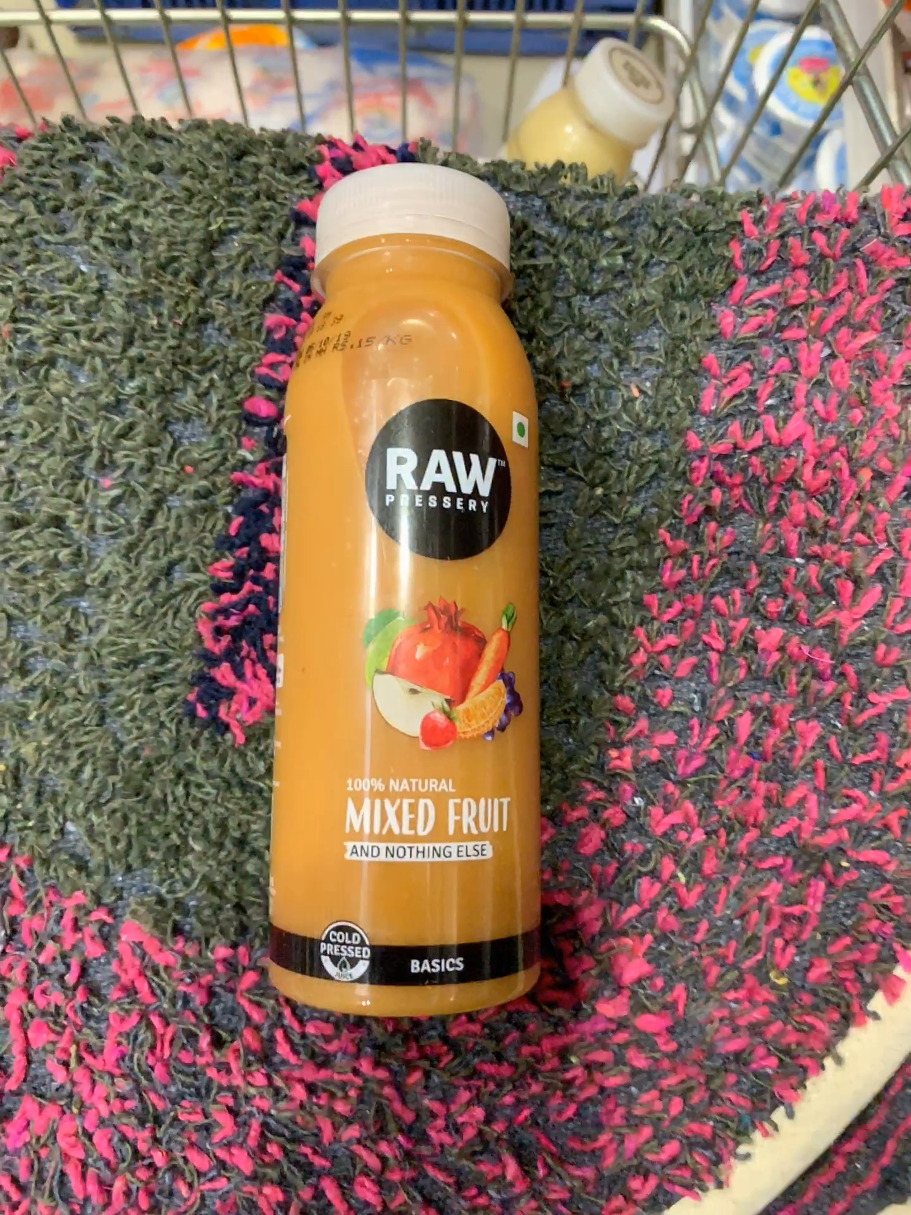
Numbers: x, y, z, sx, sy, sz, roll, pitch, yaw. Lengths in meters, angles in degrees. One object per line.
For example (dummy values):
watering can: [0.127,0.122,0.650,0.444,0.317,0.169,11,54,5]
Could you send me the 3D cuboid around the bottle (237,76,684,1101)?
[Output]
bottle: [-0.002,-0.003,0.175,0.060,0.060,0.150,4,81,-20]
